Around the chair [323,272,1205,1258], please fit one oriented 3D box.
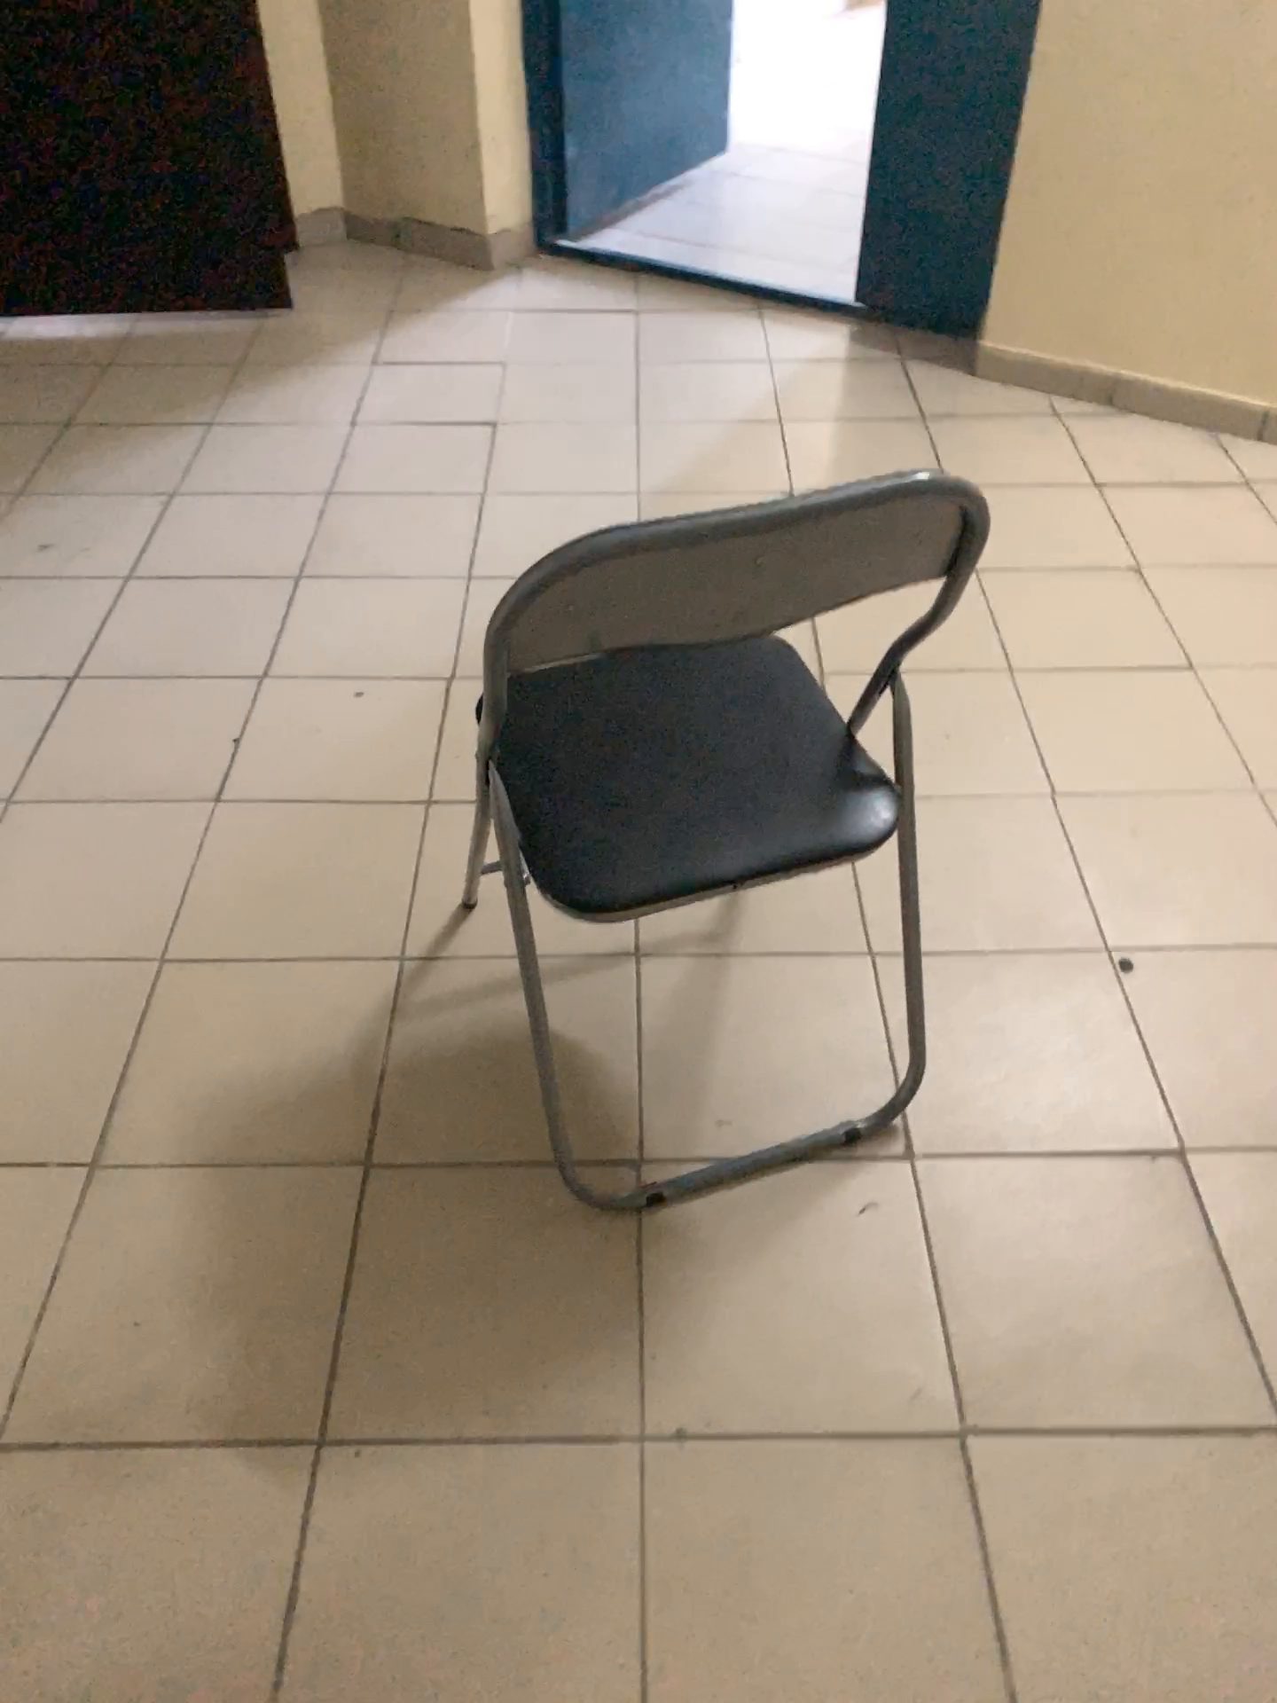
[{"bbox_3d":[0.058,-0.093,1.329,0.570,0.726,0.563,-12,44,-13],"label":"chair"}]
